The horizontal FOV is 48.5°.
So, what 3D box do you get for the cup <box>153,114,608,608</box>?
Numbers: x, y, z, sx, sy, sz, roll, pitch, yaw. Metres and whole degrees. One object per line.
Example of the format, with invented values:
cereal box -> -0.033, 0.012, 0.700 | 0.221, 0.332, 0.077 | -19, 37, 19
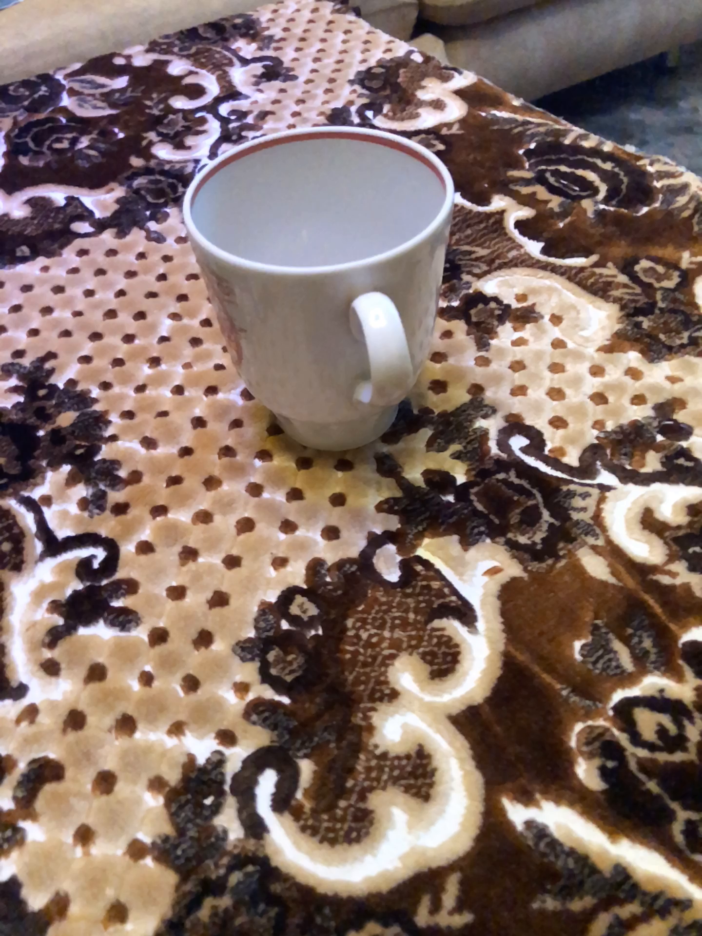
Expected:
cup -> 0.001, -0.043, 0.273 | 0.100, 0.090, 0.130 | -16, 50, -11
